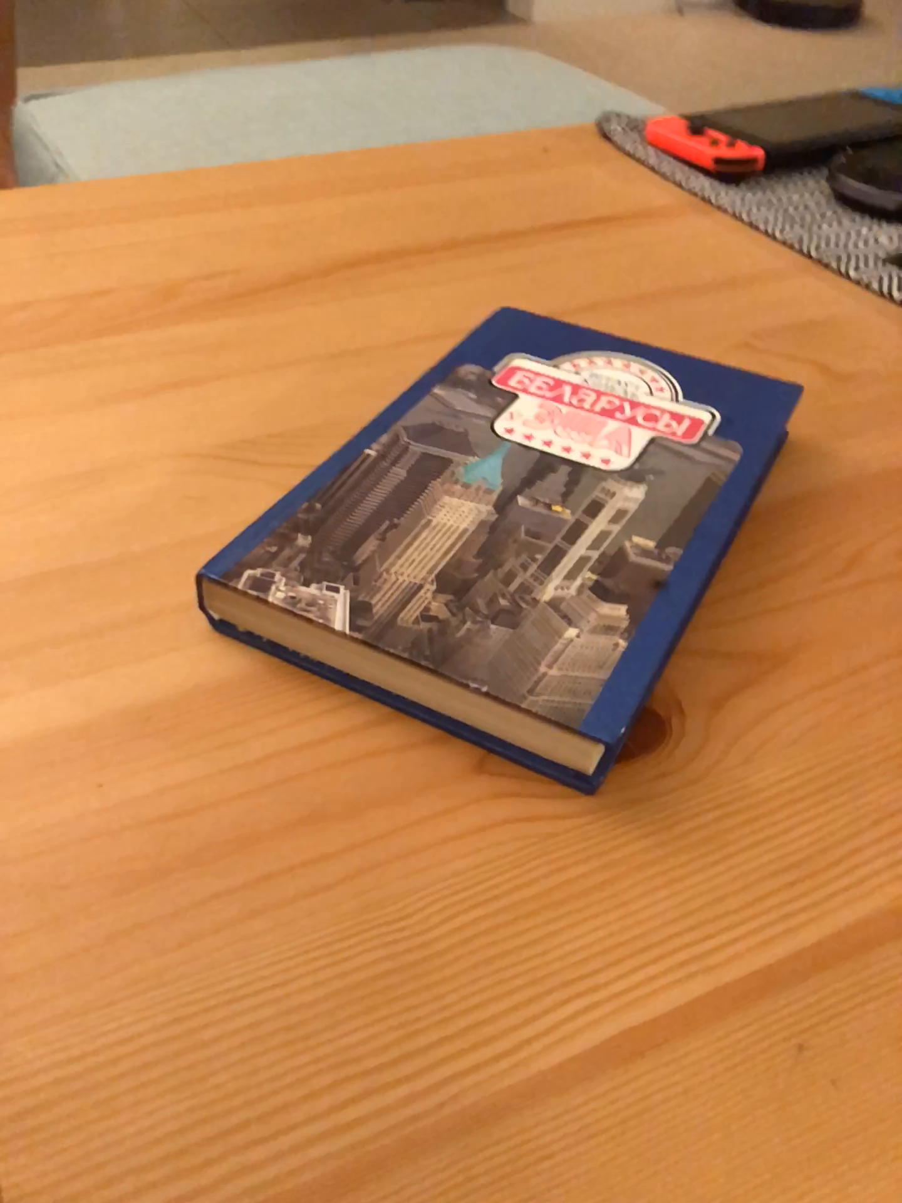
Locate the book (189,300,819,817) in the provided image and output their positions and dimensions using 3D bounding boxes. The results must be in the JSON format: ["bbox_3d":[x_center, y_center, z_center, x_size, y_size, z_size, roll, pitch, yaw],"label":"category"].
[{"bbox_3d":[0.034,-0.039,0.375,0.146,0.030,0.225,21,46,20],"label":"book"}]
